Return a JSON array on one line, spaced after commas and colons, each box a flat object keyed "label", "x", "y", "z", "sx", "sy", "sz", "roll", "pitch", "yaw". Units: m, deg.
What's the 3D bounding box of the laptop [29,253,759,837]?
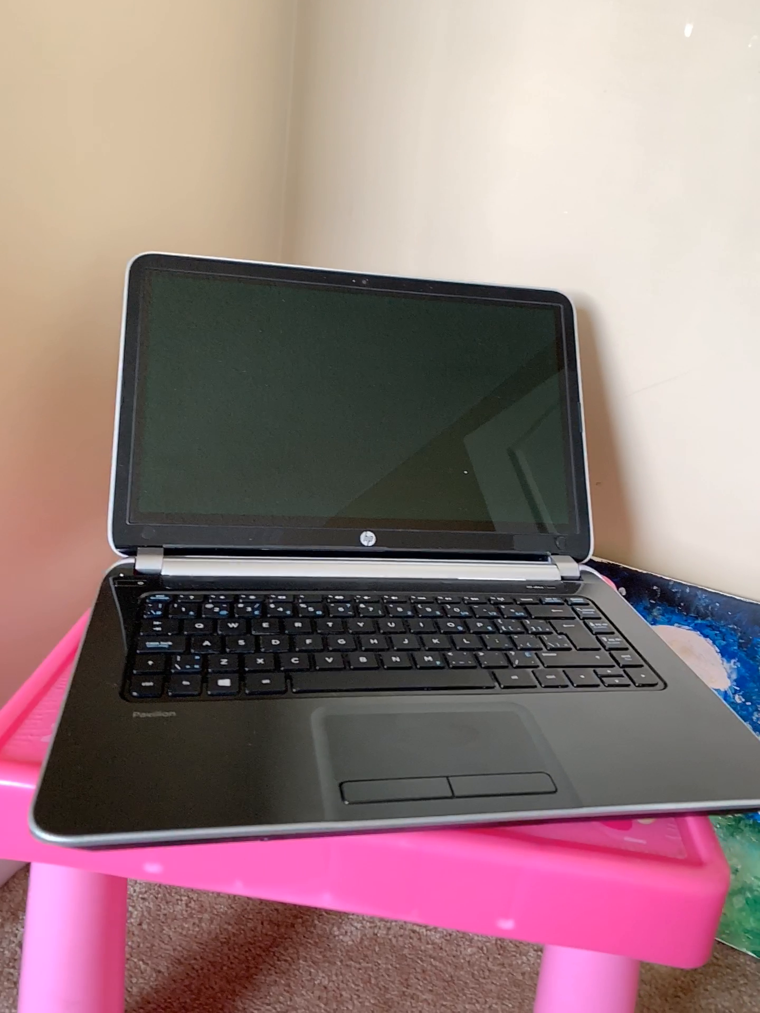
[{"label": "laptop", "x": 0.006, "y": -0.014, "z": 0.388, "sx": 0.274, "sy": 0.161, "sz": 0.272, "roll": 1, "pitch": 23, "yaw": -12}]
